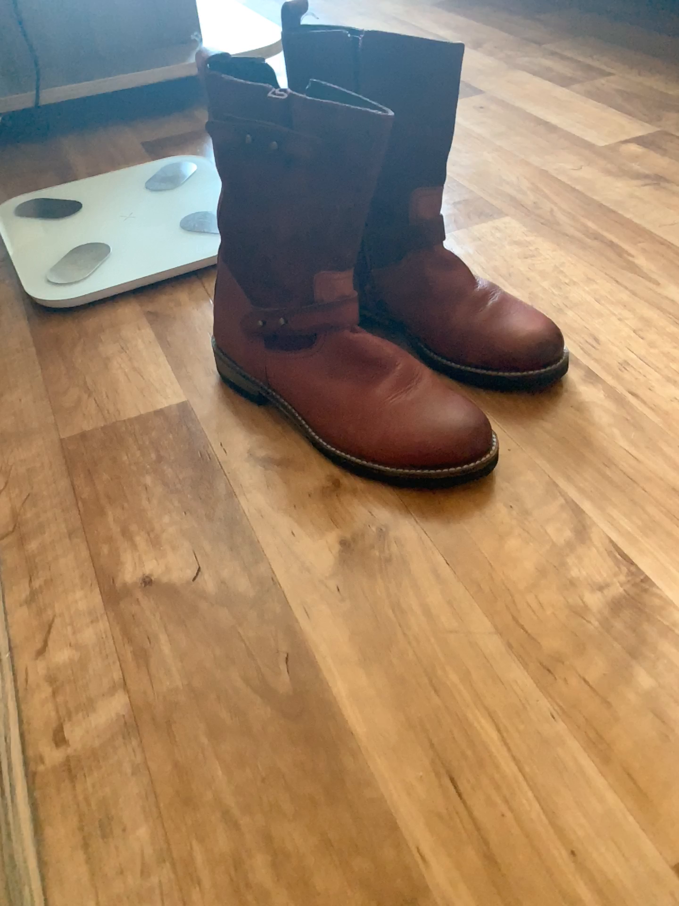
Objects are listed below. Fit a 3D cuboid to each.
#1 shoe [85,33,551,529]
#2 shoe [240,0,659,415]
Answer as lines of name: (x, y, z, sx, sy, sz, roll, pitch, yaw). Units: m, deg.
shoe: (-0.015, -0.116, 0.468, 0.251, 0.249, 0.100, 26, 52, 29)
shoe: (0.066, -0.189, 0.519, 0.251, 0.239, 0.090, 26, 52, 29)
